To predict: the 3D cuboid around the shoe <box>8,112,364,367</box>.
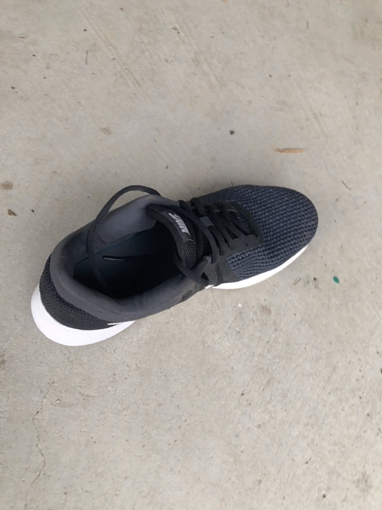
[{"bbox_3d":[-0.001,-0.022,0.415,0.291,0.100,0.130,-22,73,-20],"label":"shoe"}]
